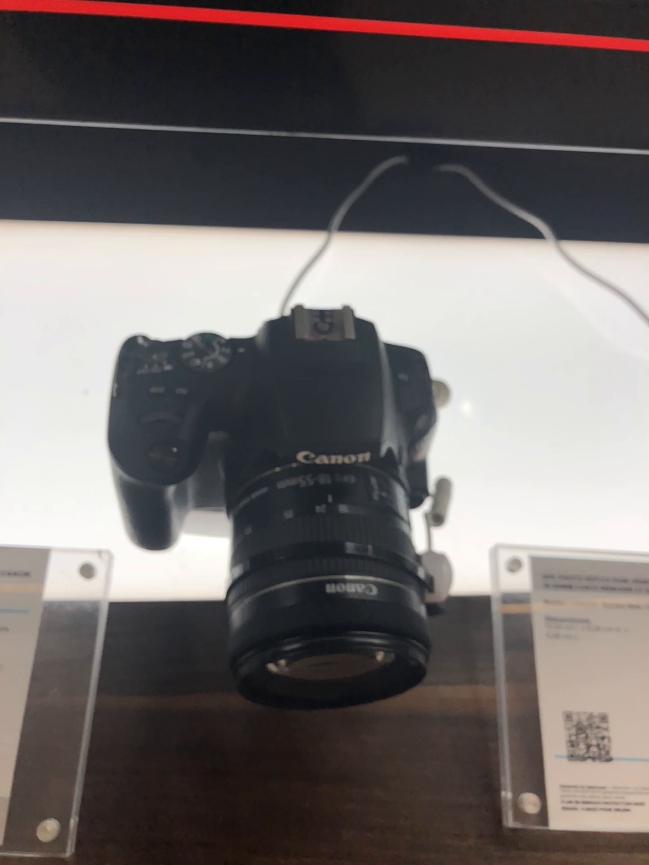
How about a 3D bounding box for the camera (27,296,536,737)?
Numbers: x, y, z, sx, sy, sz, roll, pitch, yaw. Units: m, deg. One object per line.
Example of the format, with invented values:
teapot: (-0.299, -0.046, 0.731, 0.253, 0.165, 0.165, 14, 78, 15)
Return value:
camera: (-0.015, 0.026, 0.247, 0.124, 0.082, 0.119, 0, 52, -6)
